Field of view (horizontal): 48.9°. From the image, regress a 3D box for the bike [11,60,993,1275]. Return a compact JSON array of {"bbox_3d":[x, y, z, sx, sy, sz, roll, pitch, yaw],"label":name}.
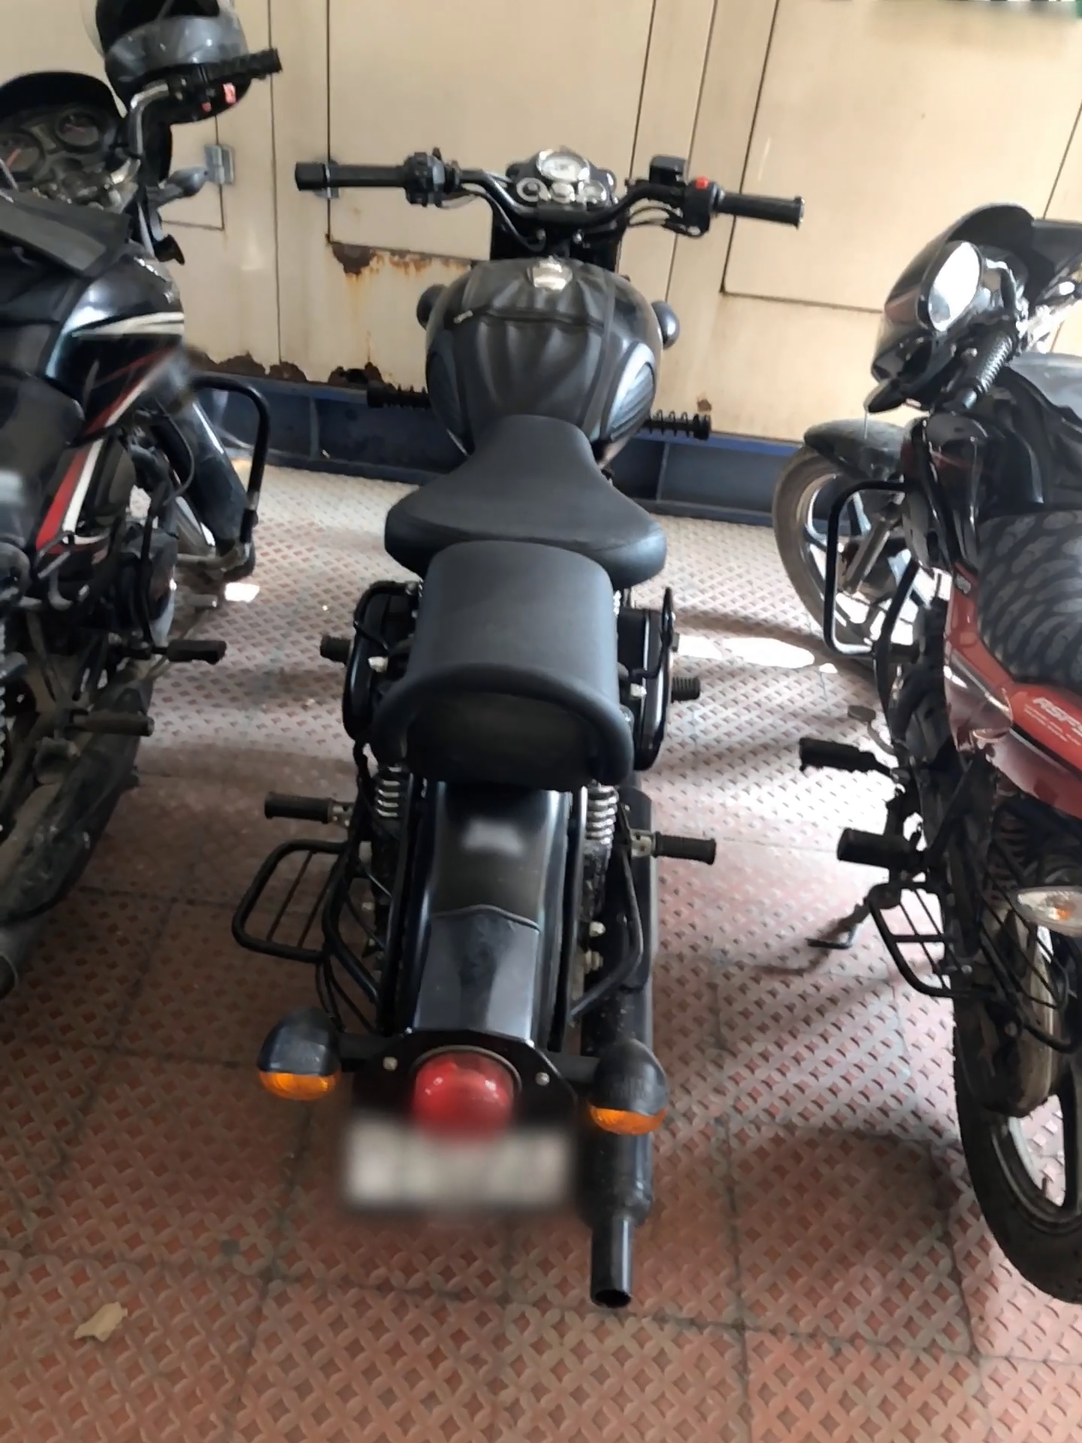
[{"bbox_3d":[-0.080,-0.268,1.795,0.708,0.919,1.696,5,39,-4],"label":"bike"}]
